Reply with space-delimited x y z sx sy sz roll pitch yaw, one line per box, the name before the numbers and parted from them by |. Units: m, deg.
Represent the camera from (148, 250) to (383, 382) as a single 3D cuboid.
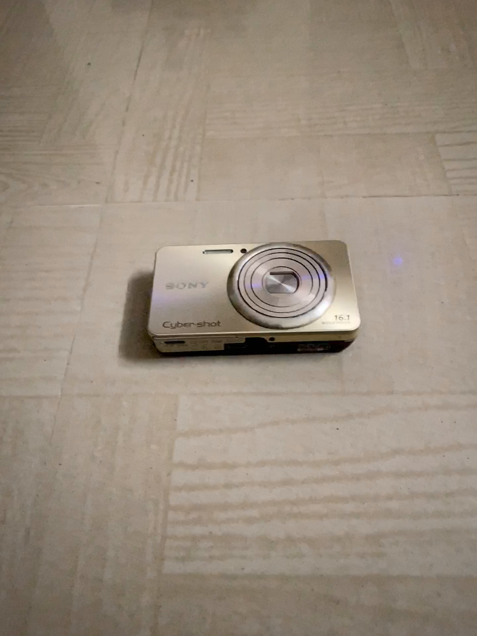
camera | 0.013 -0.002 0.229 0.097 0.019 0.057 2 56 4
